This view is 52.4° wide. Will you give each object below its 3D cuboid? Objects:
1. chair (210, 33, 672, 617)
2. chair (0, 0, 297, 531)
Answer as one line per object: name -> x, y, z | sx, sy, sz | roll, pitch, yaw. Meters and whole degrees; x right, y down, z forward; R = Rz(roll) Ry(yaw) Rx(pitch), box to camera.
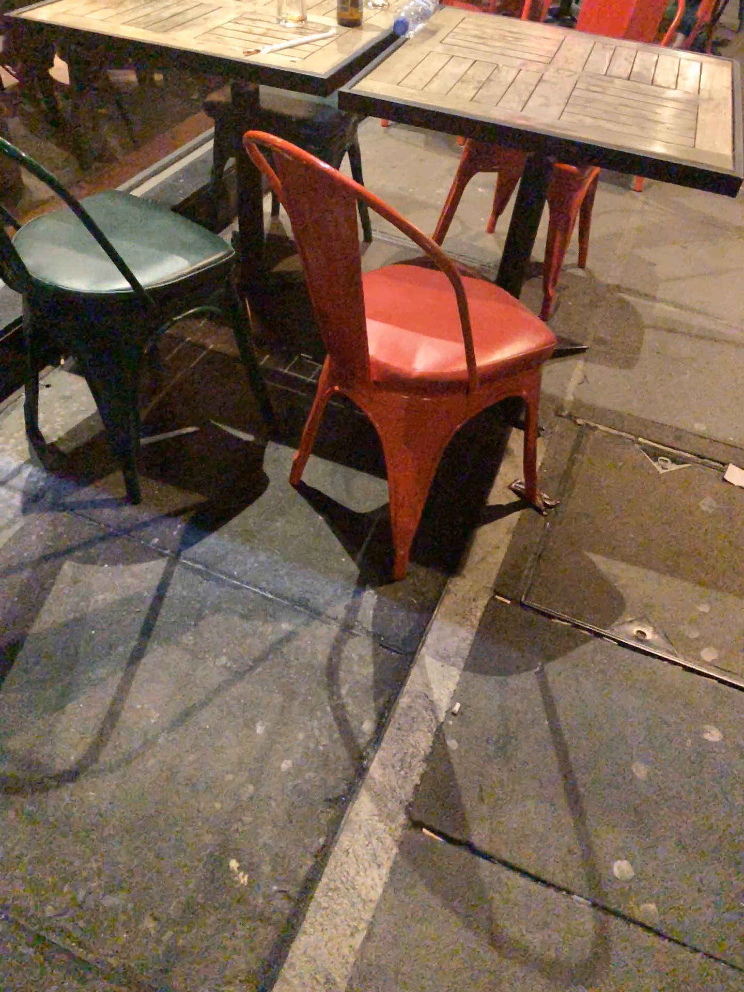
chair -> 0.086, -0.290, 1.378 | 0.512, 0.812, 0.432 | -31, 55, -29
chair -> -0.486, -0.444, 1.465 | 0.432, 0.832, 0.513 | 39, 59, 22
